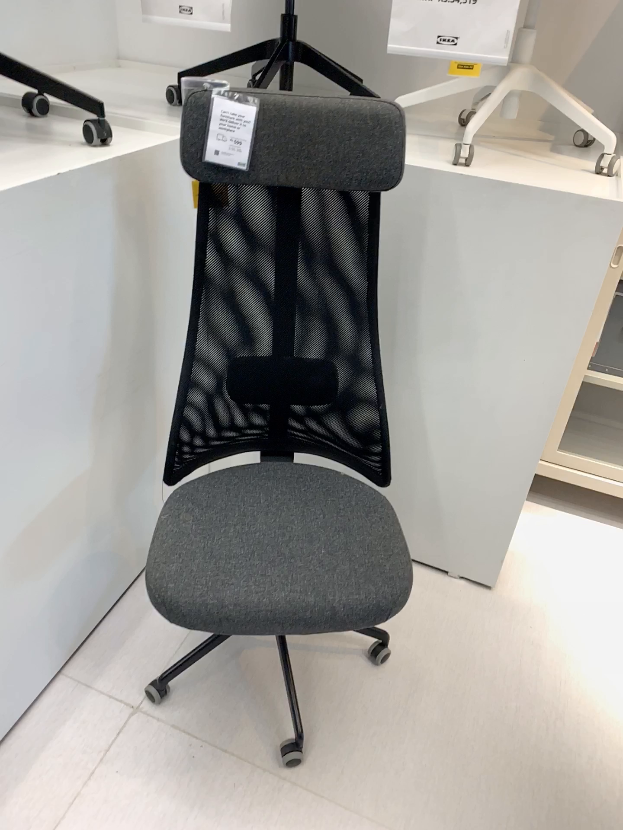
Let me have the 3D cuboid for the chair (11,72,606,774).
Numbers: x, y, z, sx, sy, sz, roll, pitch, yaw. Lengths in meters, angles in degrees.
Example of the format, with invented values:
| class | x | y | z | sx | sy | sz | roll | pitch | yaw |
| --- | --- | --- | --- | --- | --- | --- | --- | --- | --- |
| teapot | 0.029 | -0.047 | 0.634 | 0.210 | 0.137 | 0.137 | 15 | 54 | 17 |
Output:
| class | x | y | z | sx | sy | sz | roll | pitch | yaw |
| --- | --- | --- | --- | --- | --- | --- | --- | --- | --- |
| chair | -0.040 | 0.059 | 1.329 | 0.660 | 1.265 | 0.673 | 5 | 34 | -1 |
